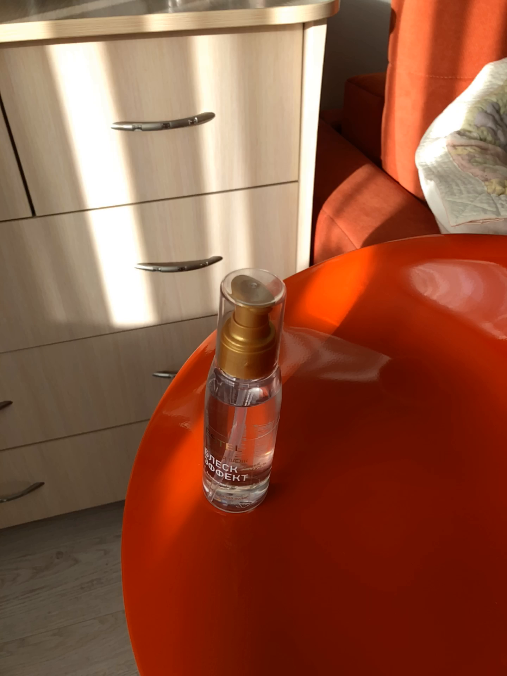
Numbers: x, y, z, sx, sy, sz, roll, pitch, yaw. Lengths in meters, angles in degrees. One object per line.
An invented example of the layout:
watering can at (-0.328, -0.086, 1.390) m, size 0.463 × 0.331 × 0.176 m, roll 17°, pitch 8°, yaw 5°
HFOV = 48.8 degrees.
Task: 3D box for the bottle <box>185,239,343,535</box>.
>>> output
bottle at (-0.002, 0.031, 0.291) m, size 0.050 × 0.149 × 0.050 m, roll 4°, pitch 39°, yaw -3°
